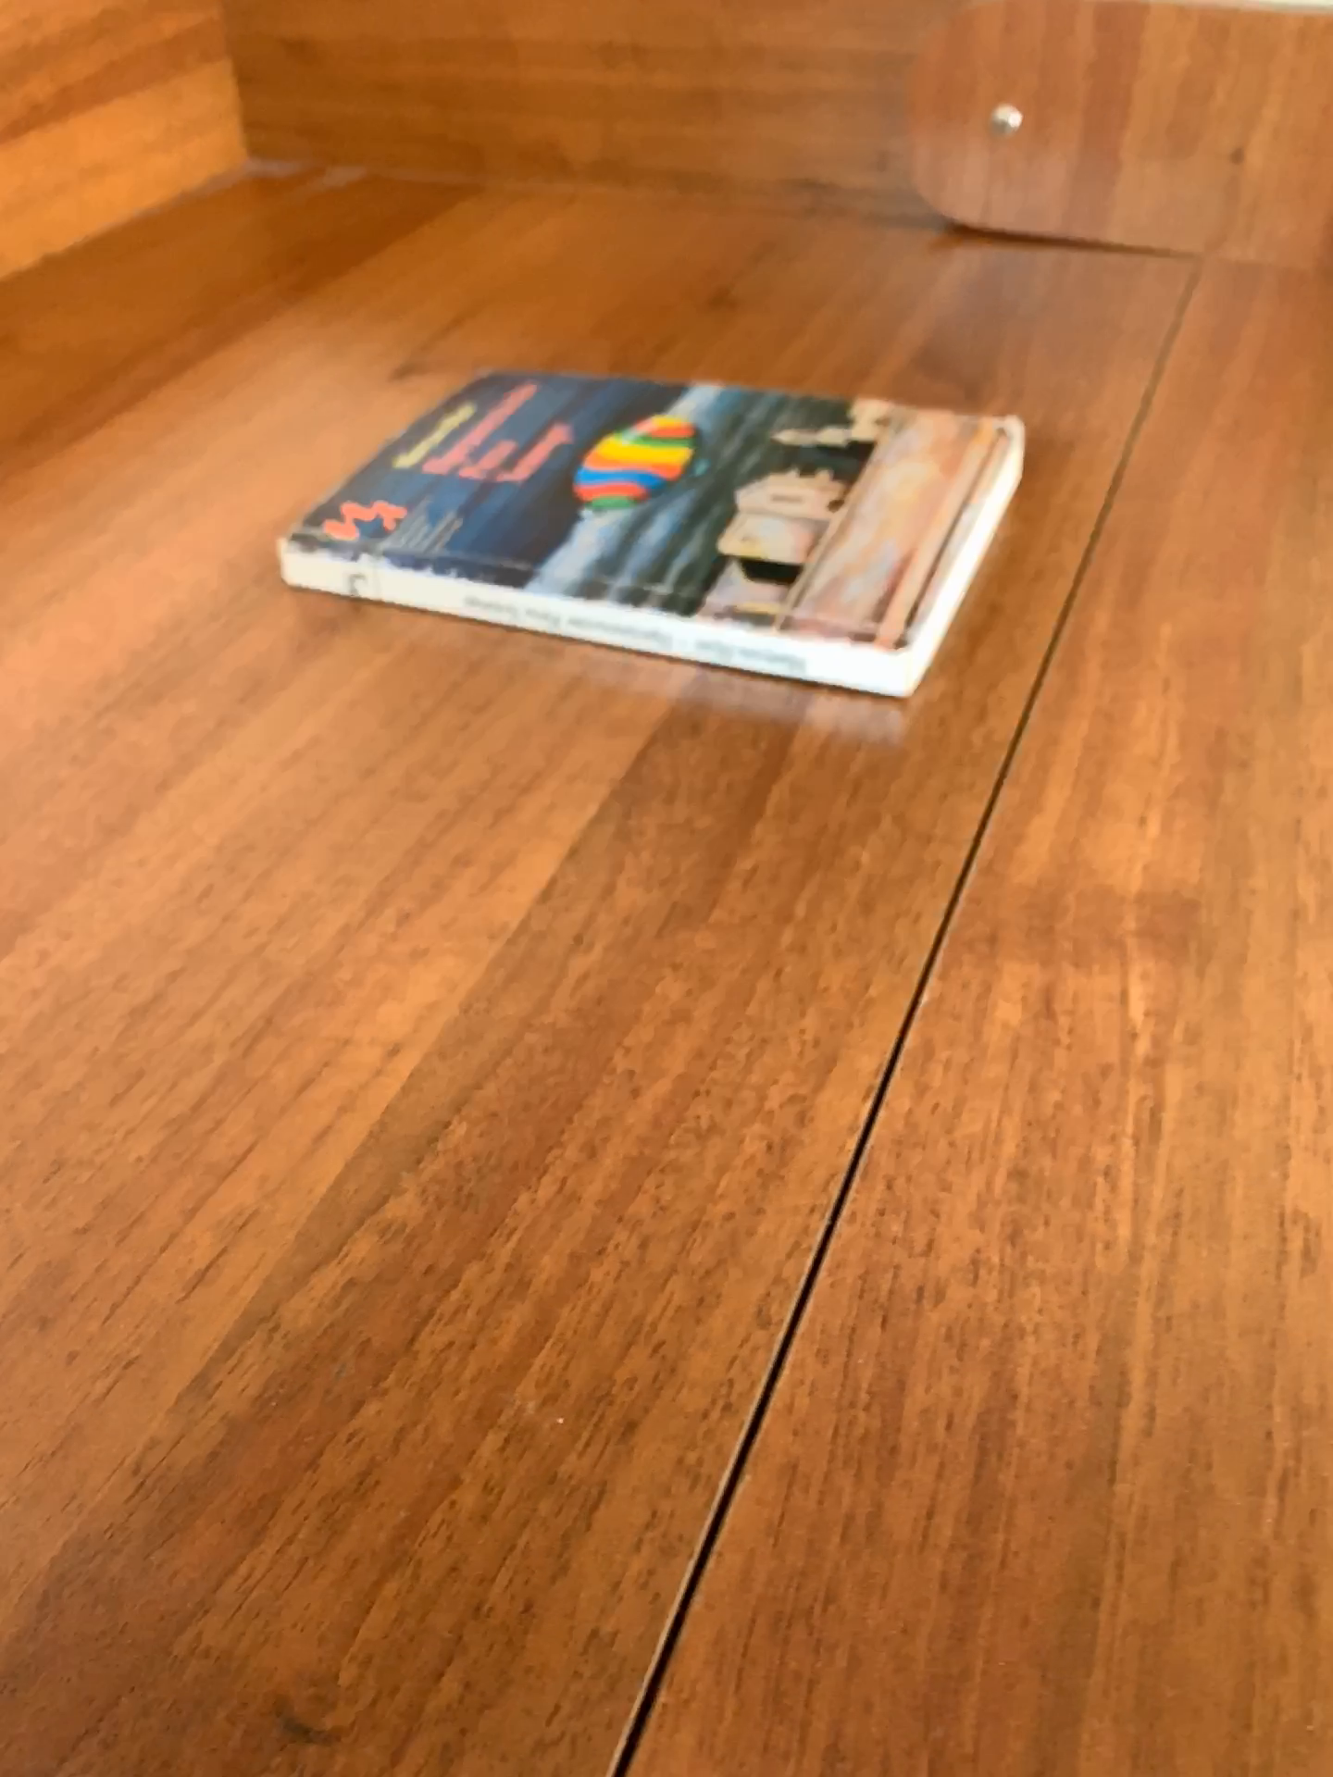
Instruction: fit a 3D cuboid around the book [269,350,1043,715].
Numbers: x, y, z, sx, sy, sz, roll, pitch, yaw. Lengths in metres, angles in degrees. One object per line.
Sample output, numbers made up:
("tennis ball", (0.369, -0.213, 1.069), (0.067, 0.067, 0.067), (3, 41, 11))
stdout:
("book", (0.003, -0.097, 0.350), (0.157, 0.016, 0.122), (13, 43, 17))
